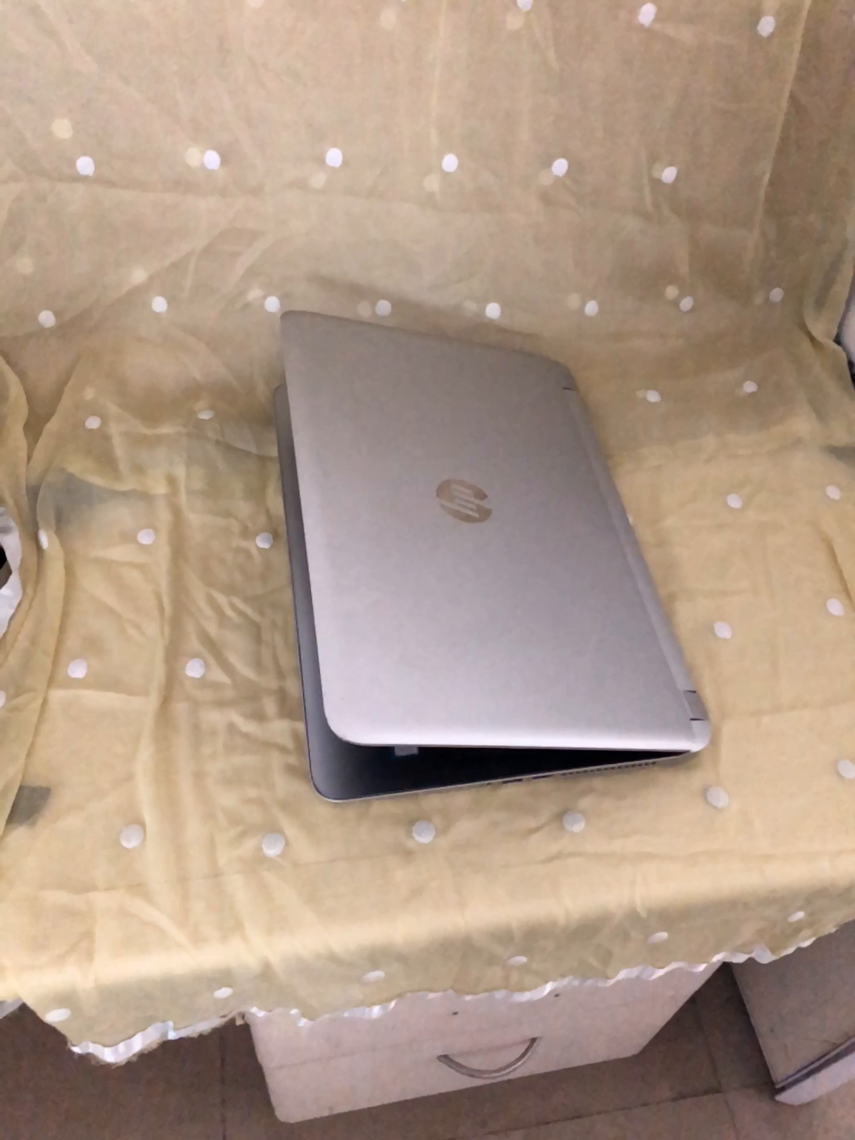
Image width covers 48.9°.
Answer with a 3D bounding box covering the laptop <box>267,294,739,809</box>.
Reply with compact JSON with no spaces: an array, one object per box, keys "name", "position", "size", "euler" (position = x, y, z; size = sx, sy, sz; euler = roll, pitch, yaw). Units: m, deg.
[{"name":"laptop","position":[0.025,-0.041,0.653],"size":[0.243,0.077,0.367],"euler":[-5,53,-9]}]
